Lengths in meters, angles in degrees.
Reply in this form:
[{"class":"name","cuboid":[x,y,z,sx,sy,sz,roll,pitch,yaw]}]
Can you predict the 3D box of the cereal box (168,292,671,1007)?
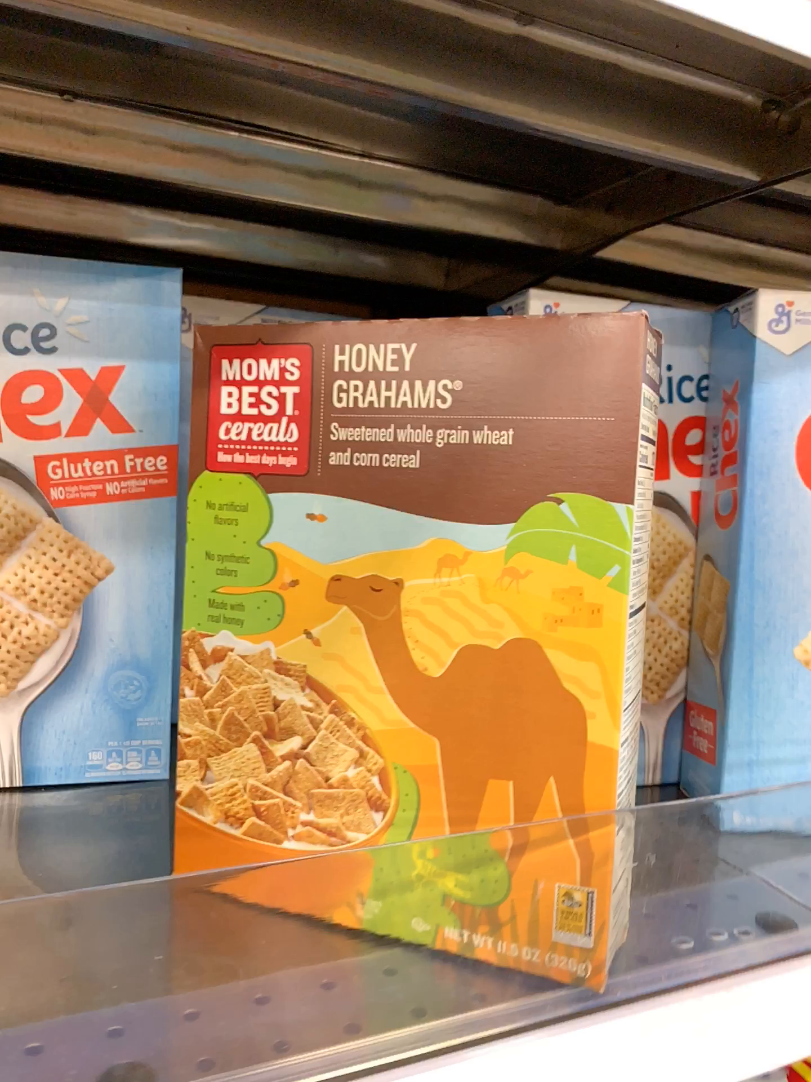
[{"class":"cereal box","cuboid":[0.001,0.034,0.363,0.200,0.260,0.050,4,3,21]}]
